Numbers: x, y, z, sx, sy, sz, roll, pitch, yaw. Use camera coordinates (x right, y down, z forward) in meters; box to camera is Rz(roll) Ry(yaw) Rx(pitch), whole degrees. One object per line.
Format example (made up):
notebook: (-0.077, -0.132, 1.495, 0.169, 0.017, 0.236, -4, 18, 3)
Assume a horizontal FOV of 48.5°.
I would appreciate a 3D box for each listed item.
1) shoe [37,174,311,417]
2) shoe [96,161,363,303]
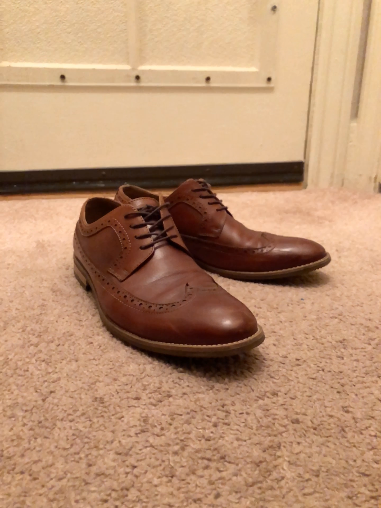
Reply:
shoe: (-0.045, 0.004, 0.425, 0.115, 0.114, 0.311, -13, 24, -32)
shoe: (0.043, -0.044, 0.545, 0.310, 0.114, 0.115, 10, 22, 25)
